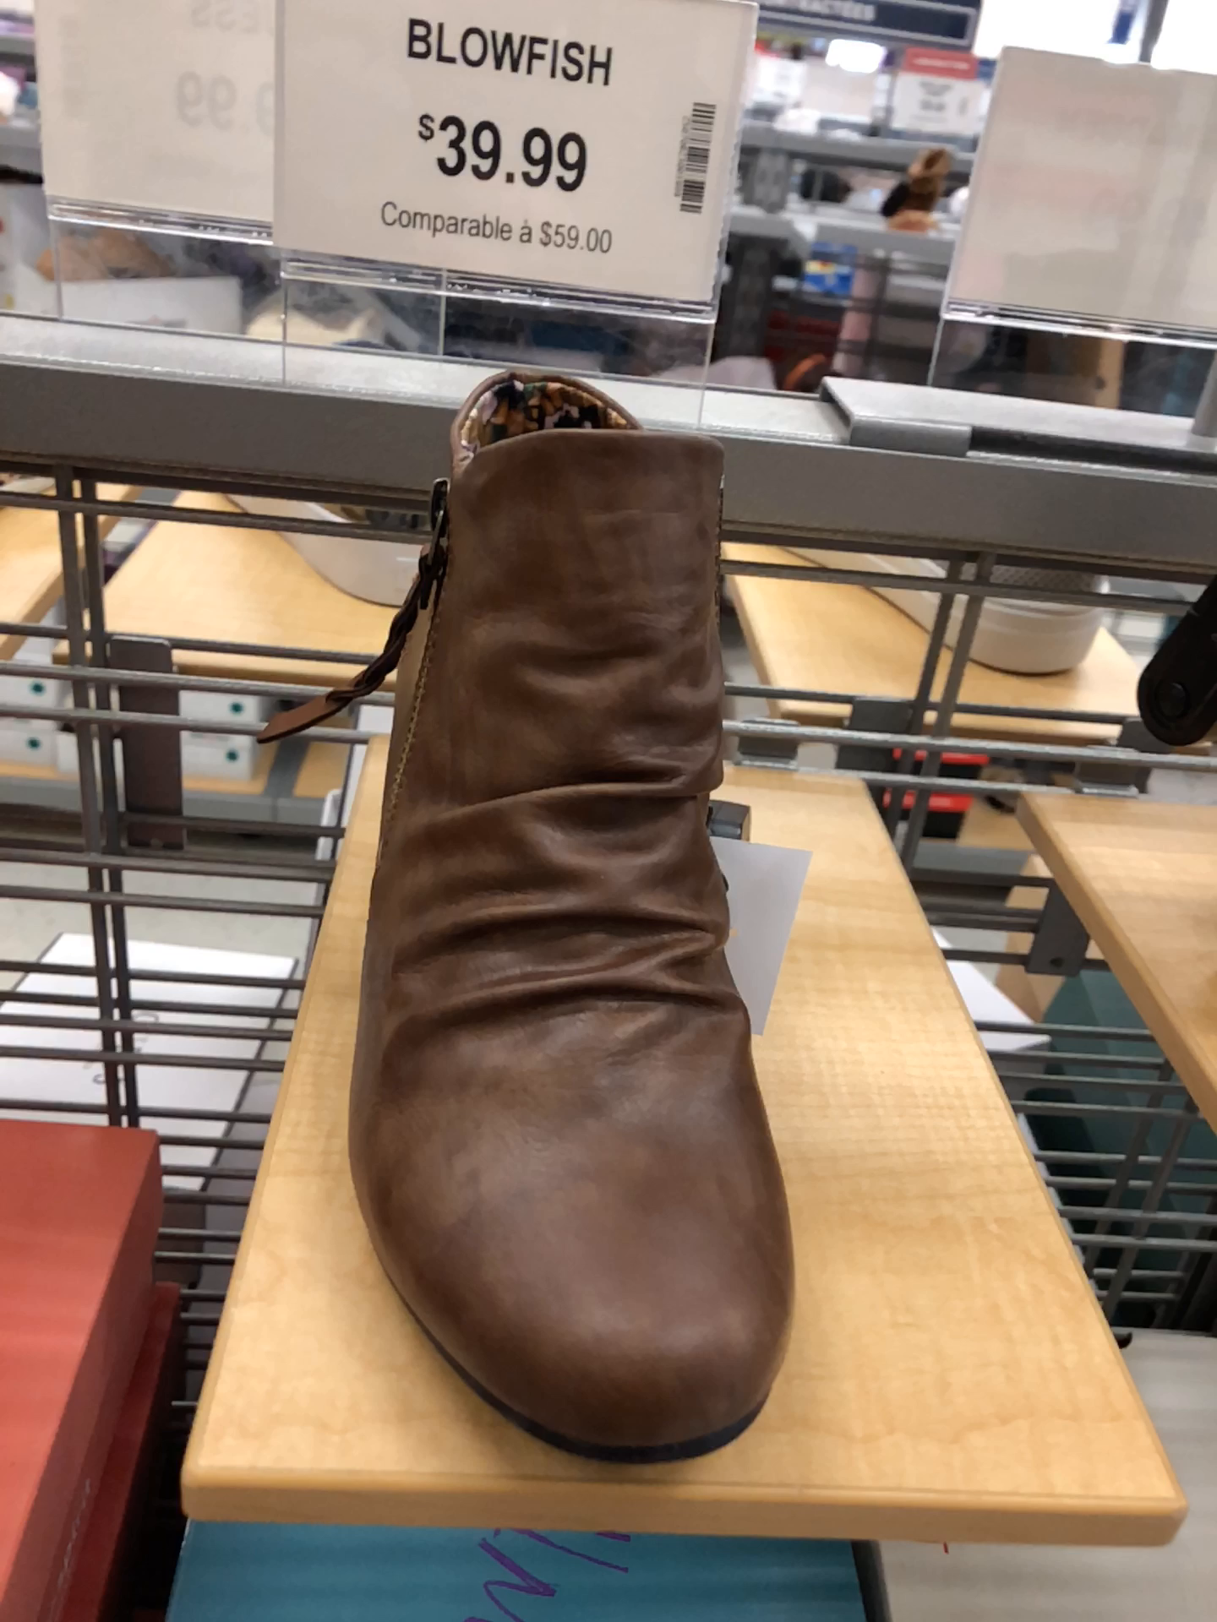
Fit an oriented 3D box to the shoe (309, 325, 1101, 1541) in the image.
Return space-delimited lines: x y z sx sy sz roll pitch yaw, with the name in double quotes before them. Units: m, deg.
"shoe" -0.011 -0.003 0.284 0.090 0.139 0.232 2 30 -11
